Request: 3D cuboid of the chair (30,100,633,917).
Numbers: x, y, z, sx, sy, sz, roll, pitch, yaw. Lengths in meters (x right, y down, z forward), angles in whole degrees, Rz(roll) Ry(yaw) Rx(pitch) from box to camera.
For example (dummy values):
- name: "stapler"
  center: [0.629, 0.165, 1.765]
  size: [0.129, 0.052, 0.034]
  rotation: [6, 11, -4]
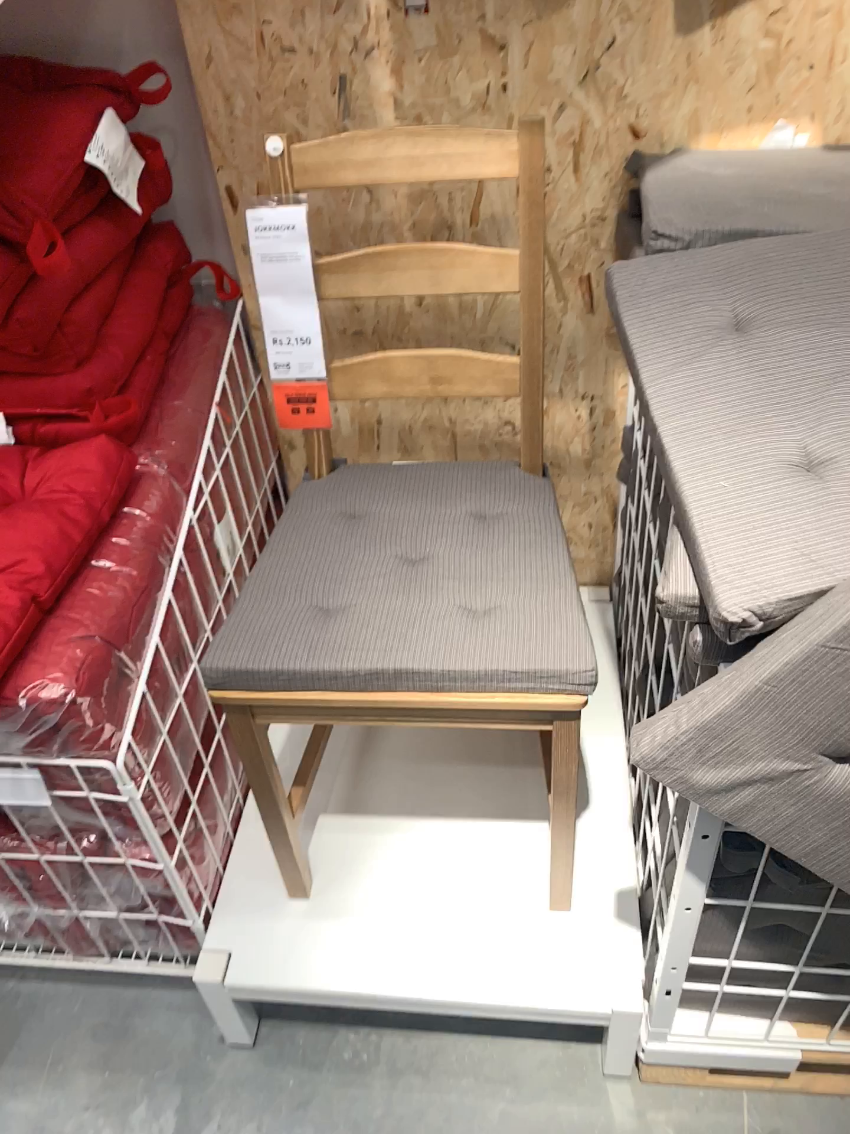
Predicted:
- name: "chair"
  center: [-0.015, -0.027, 1.085]
  size: [0.440, 0.866, 0.502]
  rotation: [0, 41, 7]
